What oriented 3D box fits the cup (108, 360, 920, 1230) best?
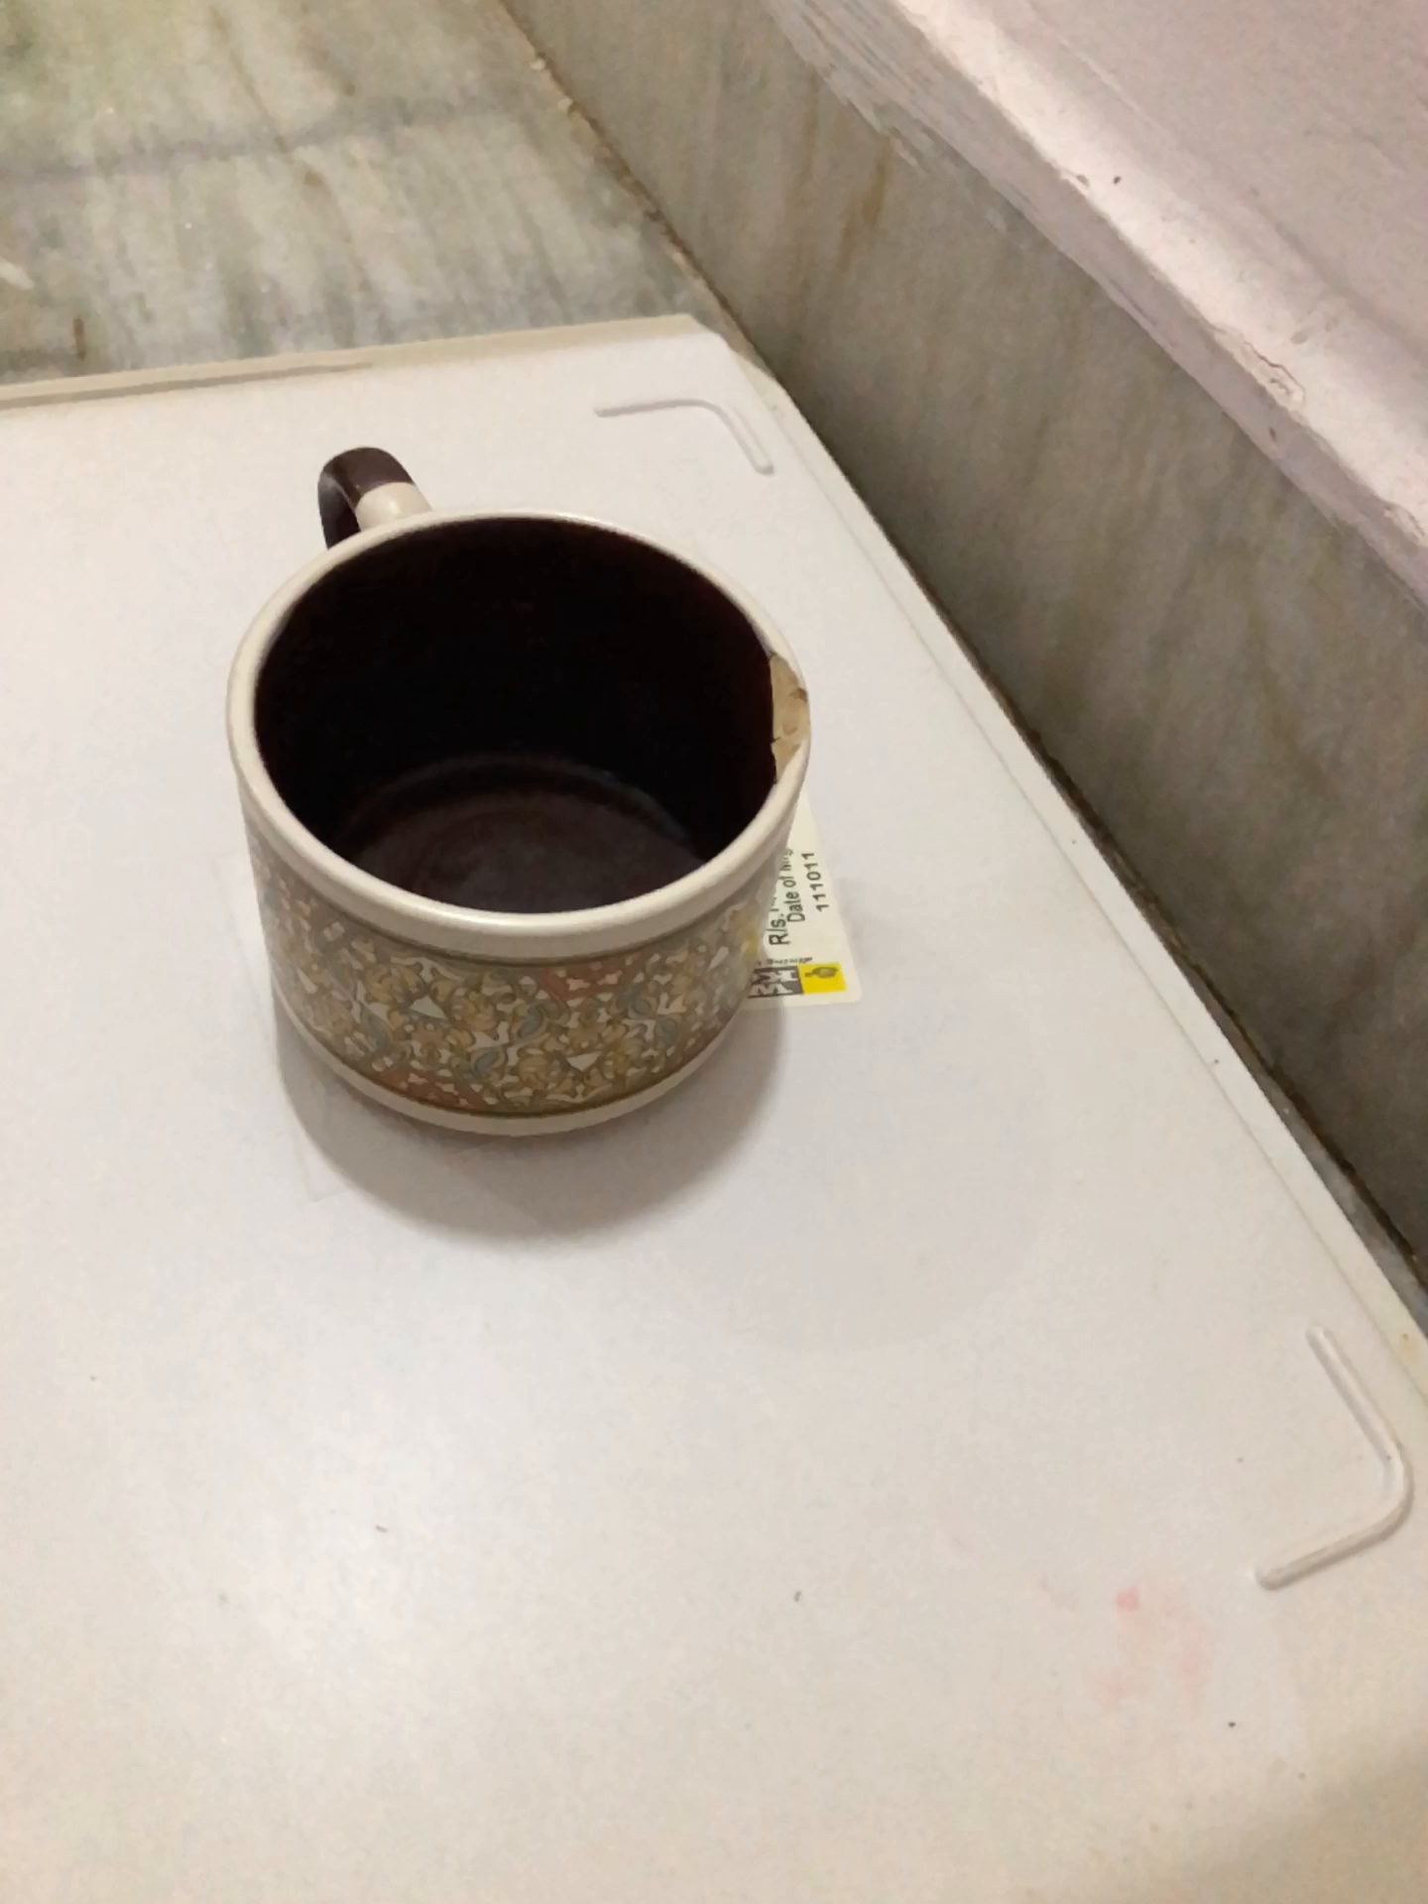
[{"bbox_3d":[-0.034,-0.027,0.234,0.080,0.060,0.100,-13,57,-19],"label":"cup"}]
